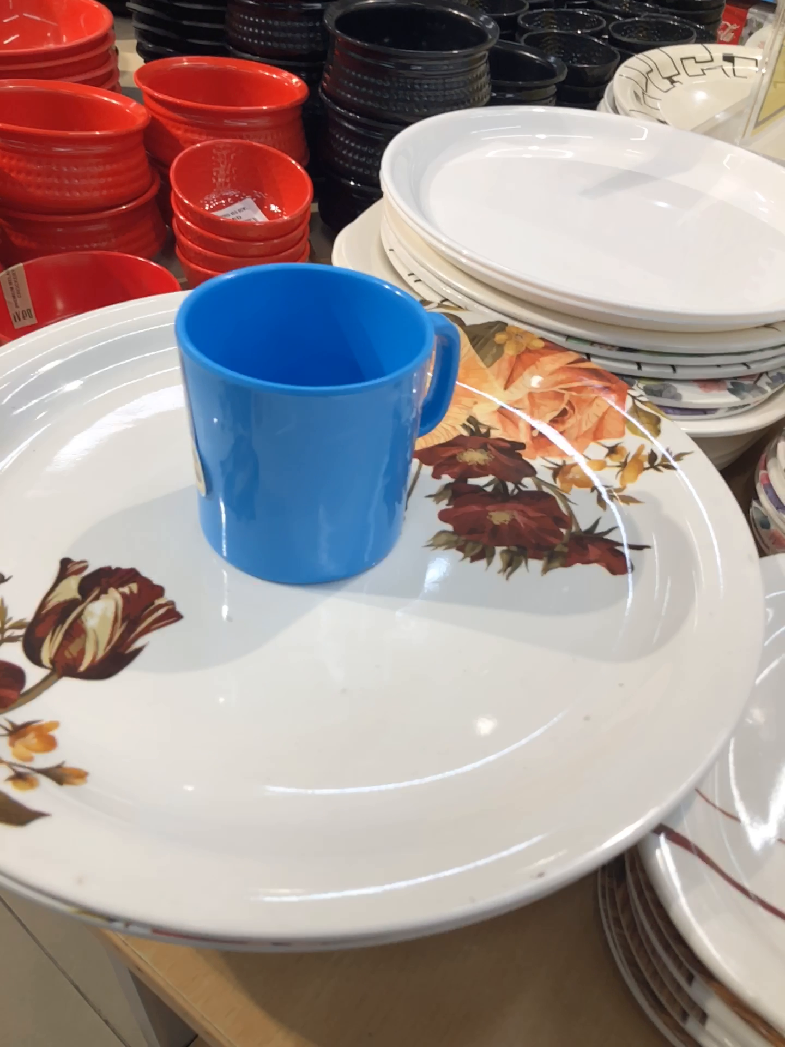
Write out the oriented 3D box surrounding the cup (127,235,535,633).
[{"bbox_3d":[-0.023,-0.037,0.318,0.110,0.089,0.080,-20,48,-25],"label":"cup"}]
